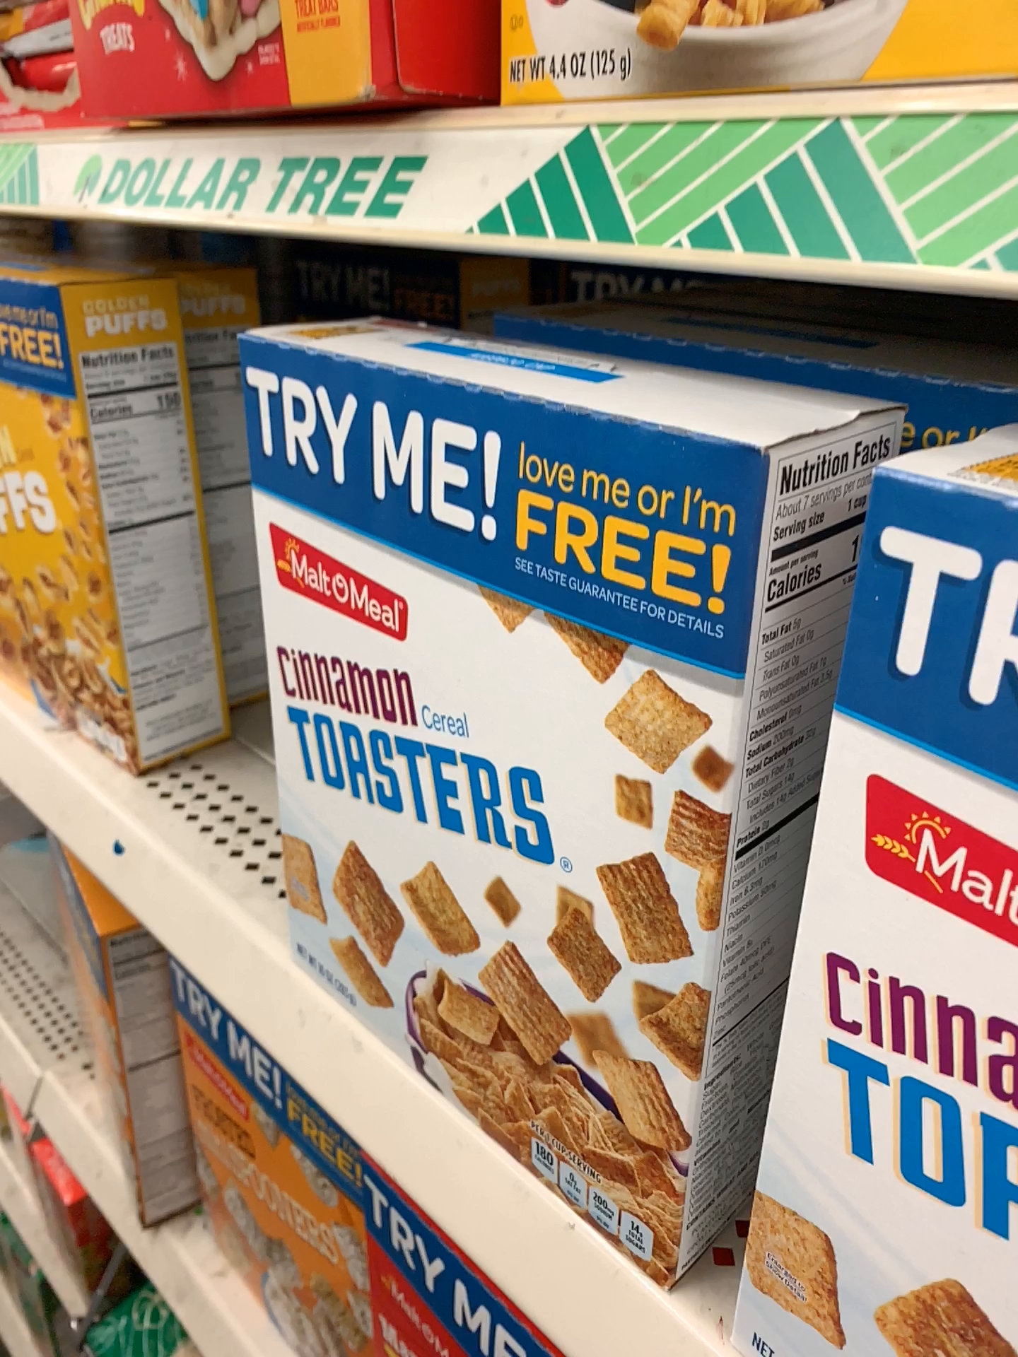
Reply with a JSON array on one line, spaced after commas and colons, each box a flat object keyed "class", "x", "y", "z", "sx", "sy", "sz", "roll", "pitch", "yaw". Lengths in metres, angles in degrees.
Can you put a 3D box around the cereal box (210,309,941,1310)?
[{"class": "cereal box", "x": 0.001, "y": 0.024, "z": 0.280, "sx": 0.050, "sy": 0.209, "sz": 0.171, "roll": -24, "pitch": 36, "yaw": -39}]
